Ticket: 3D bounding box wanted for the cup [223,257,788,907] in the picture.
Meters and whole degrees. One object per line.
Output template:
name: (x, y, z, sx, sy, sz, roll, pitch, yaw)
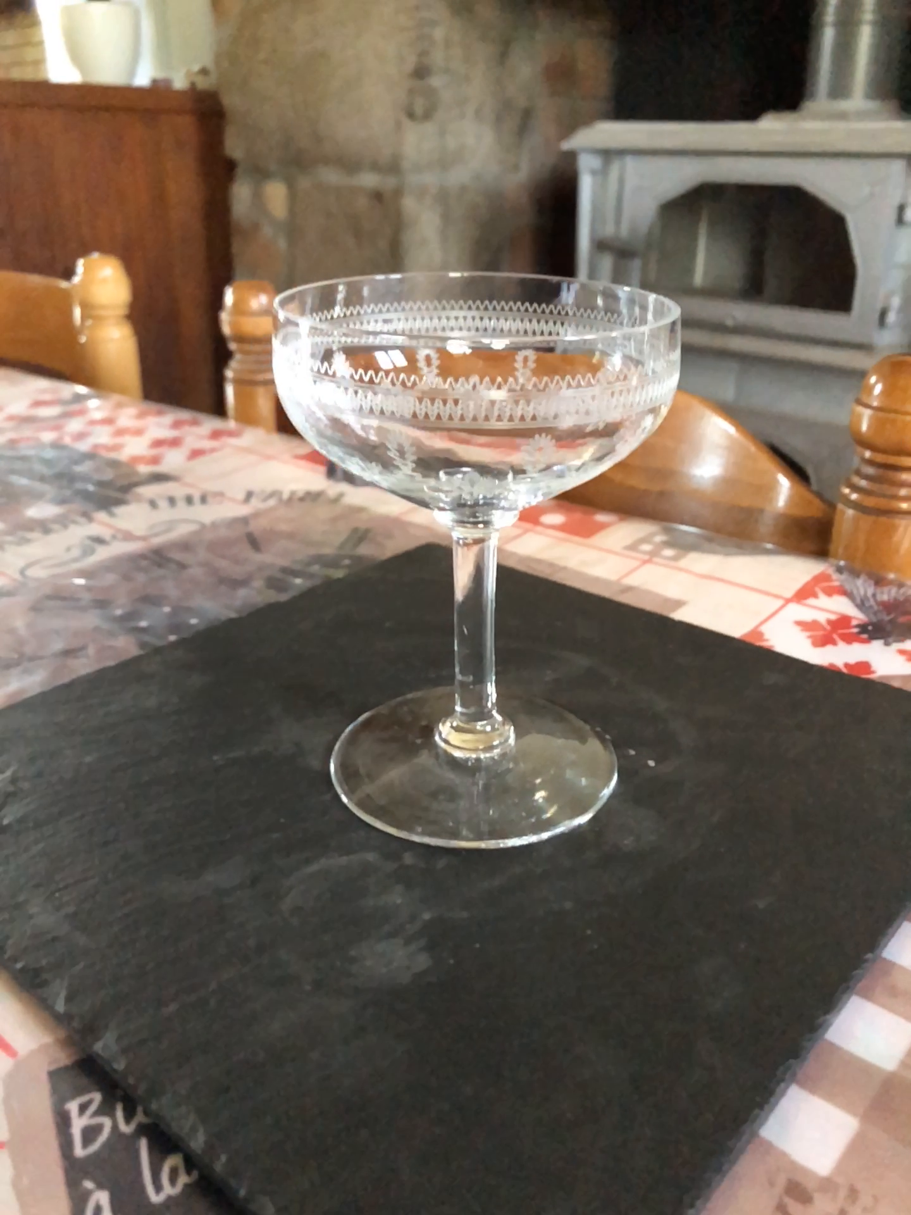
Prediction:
cup: (0.006, -0.017, 0.246, 0.090, 0.119, 0.090, 0, 23, 0)
